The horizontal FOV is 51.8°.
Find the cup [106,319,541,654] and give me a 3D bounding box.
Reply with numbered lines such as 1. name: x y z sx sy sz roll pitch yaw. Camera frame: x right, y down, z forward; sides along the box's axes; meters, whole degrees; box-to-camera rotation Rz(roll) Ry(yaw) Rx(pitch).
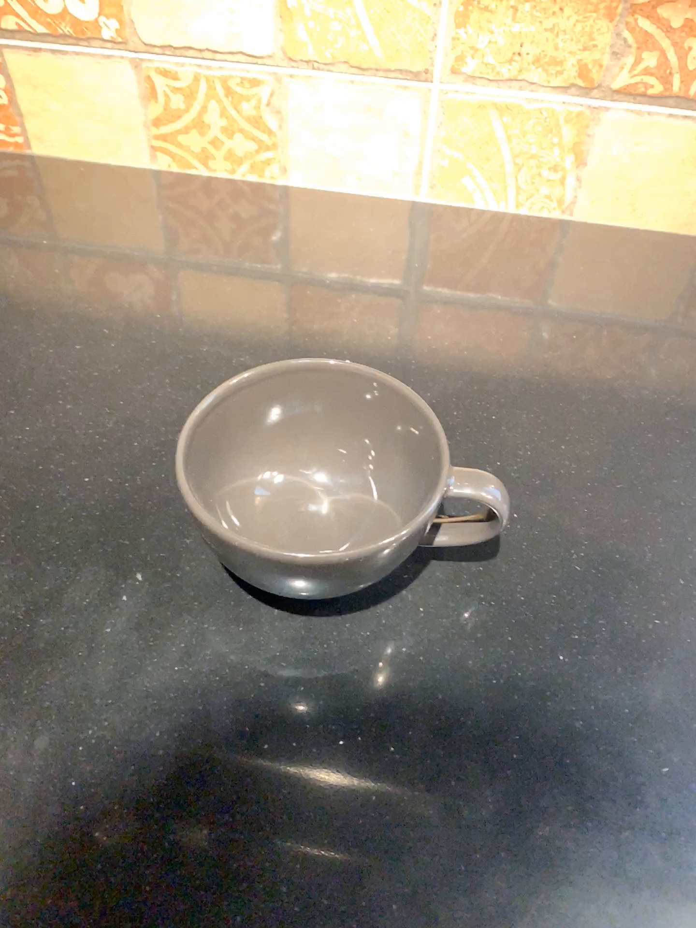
1. cup: -0.004 0.005 0.288 0.140 0.060 0.110 5 48 3
